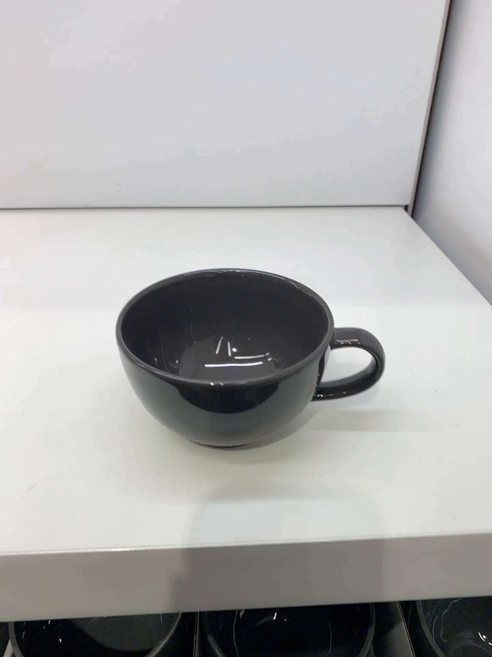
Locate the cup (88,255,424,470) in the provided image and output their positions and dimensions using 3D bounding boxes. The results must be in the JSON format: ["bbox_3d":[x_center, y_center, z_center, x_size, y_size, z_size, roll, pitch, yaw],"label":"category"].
[{"bbox_3d":[0.005,0.010,0.257,0.130,0.050,0.110,2,31,1],"label":"cup"}]
